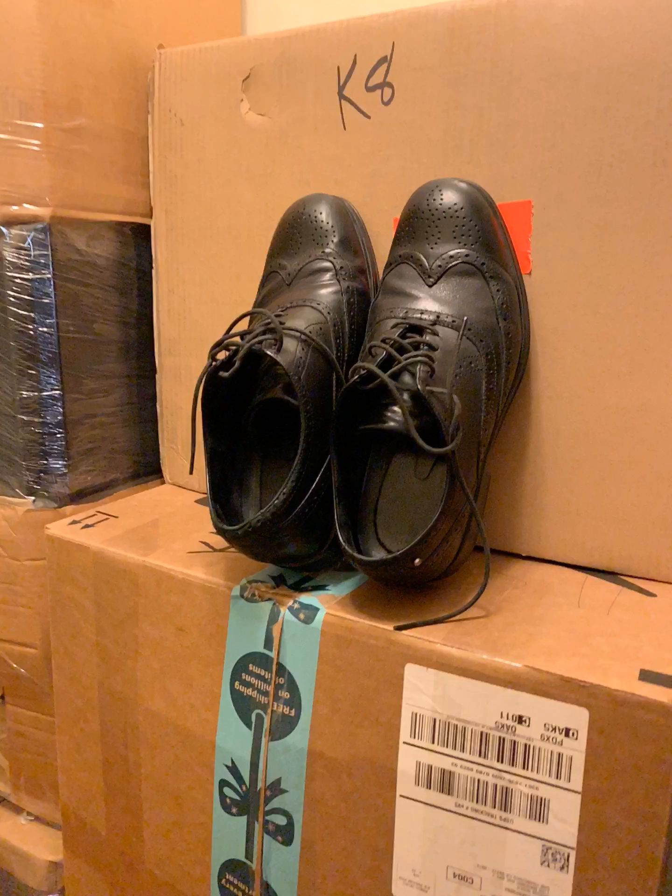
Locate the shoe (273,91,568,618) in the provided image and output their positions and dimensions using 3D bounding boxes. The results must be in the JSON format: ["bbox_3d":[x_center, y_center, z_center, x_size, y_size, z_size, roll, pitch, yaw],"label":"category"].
[{"bbox_3d":[0.058,-0.055,0.433,0.120,0.280,0.100,8,-1,25],"label":"shoe"}]

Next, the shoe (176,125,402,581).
[{"bbox_3d":[-0.031,-0.054,0.484,0.120,0.281,0.100,-4,-7,23],"label":"shoe"}]
